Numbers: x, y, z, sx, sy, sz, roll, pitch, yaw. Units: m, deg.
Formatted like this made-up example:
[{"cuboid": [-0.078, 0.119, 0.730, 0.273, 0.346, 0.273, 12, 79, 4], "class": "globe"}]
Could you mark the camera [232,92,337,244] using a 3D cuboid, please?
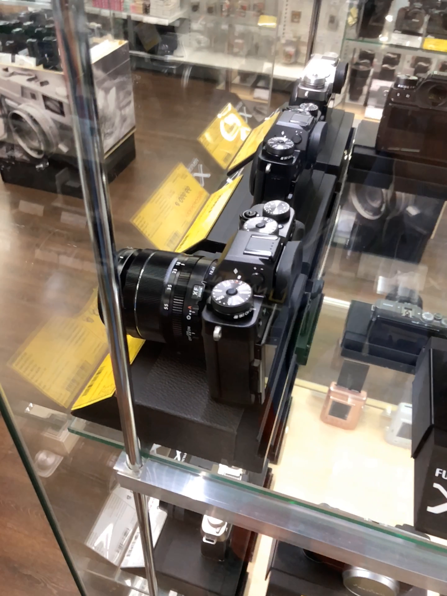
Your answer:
[{"cuboid": [0.060, -0.129, 0.478, 0.066, 0.088, 0.126, 14, 43, 11], "class": "camera"}]

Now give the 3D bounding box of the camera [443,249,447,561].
[{"cuboid": [0.207, 0.053, 0.284, 0.125, 0.088, 0.116, 15, 43, 12], "class": "camera"}]

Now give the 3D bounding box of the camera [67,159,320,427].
[{"cuboid": [-0.011, -0.010, 0.332, 0.119, 0.099, 0.129, 12, 43, 10], "class": "camera"}]
